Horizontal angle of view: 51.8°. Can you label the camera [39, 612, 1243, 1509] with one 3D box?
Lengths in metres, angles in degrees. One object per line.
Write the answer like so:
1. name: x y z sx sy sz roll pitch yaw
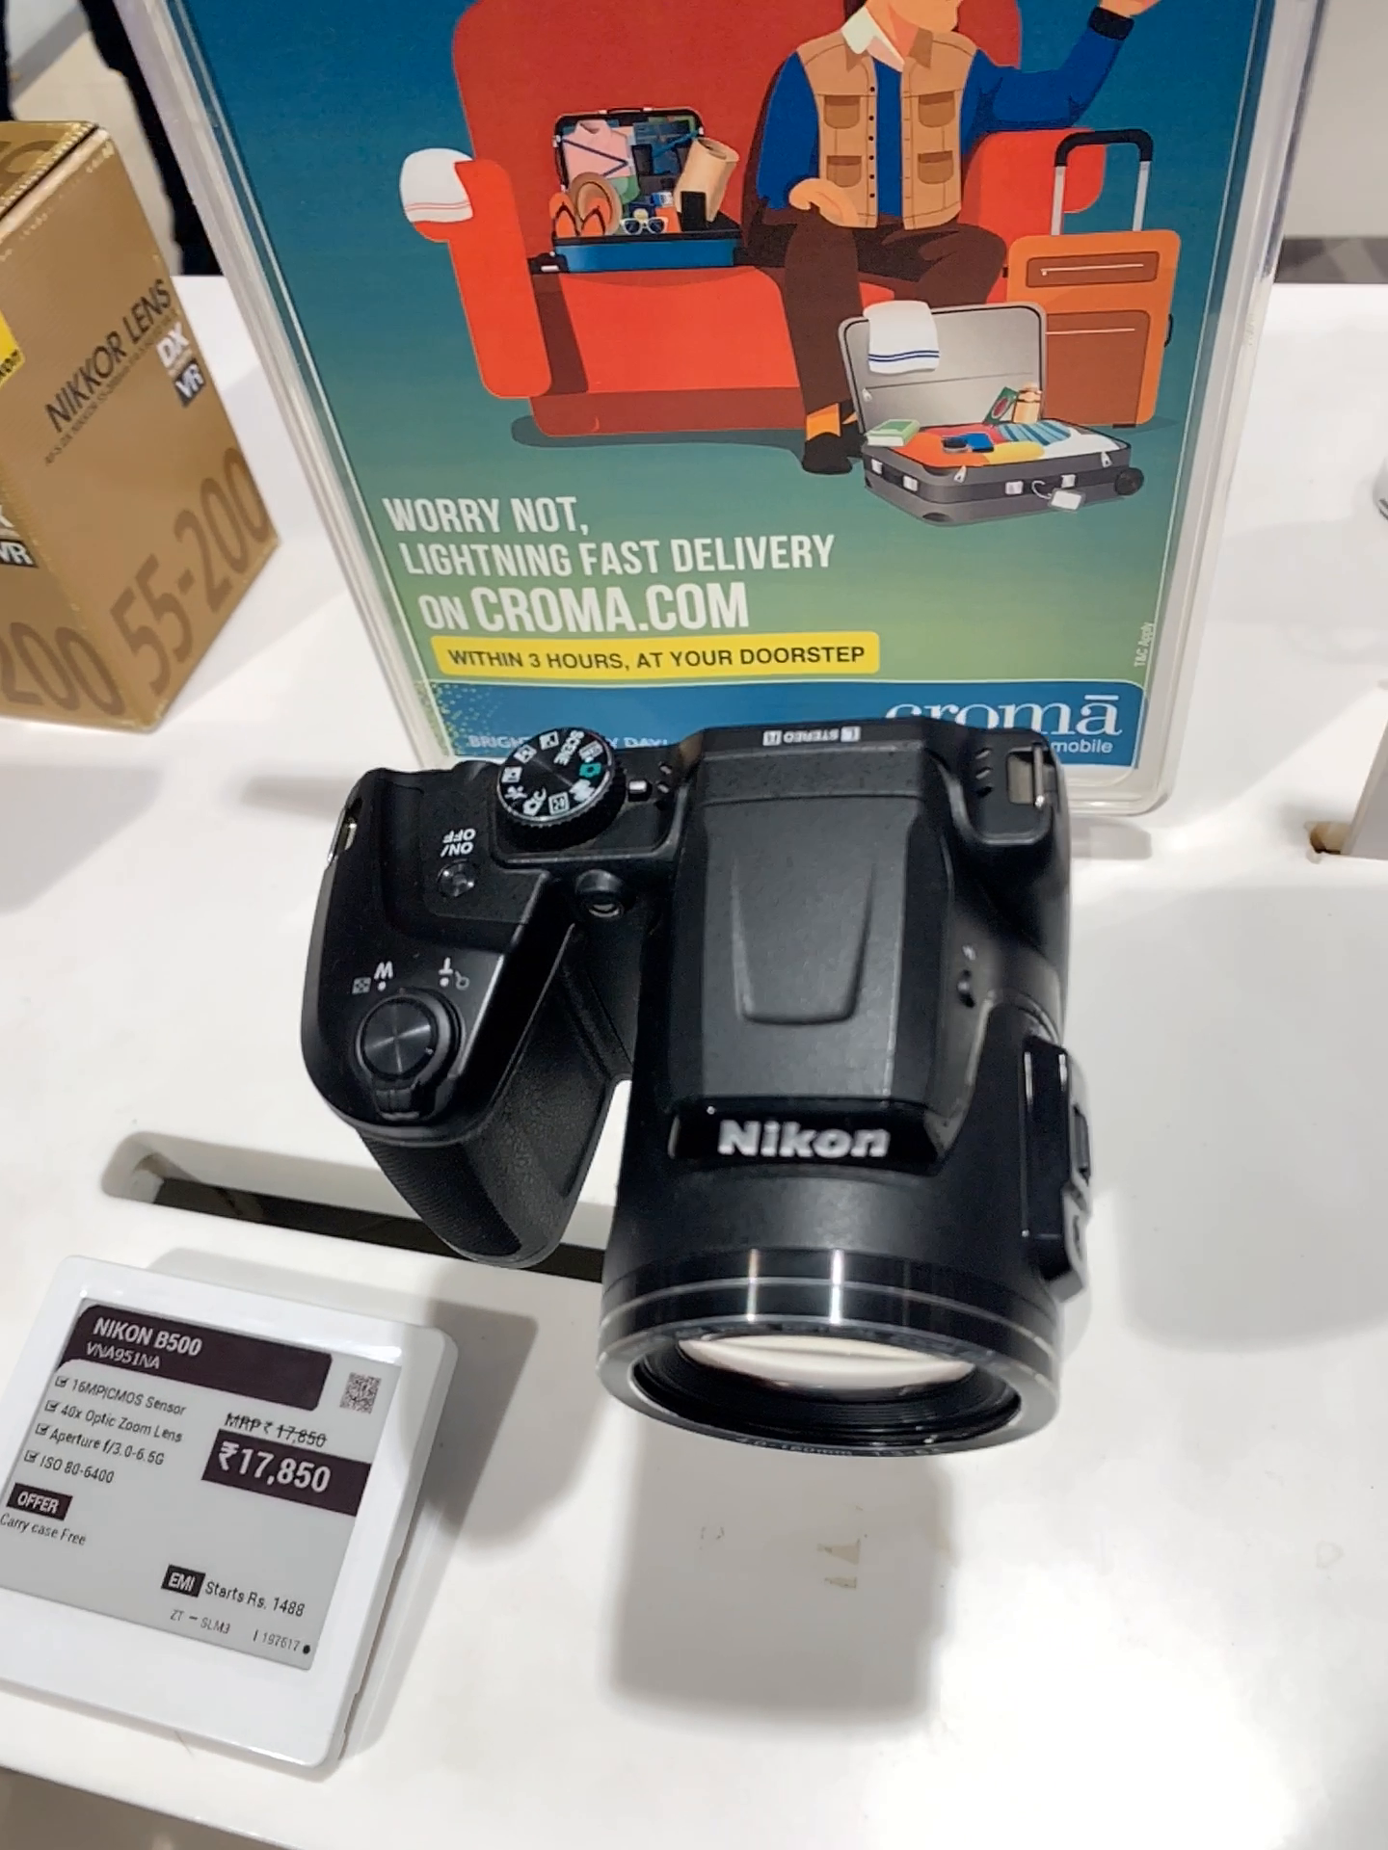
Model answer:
1. camera: -0.001 0.020 0.199 0.120 0.080 0.090 -1 52 8
